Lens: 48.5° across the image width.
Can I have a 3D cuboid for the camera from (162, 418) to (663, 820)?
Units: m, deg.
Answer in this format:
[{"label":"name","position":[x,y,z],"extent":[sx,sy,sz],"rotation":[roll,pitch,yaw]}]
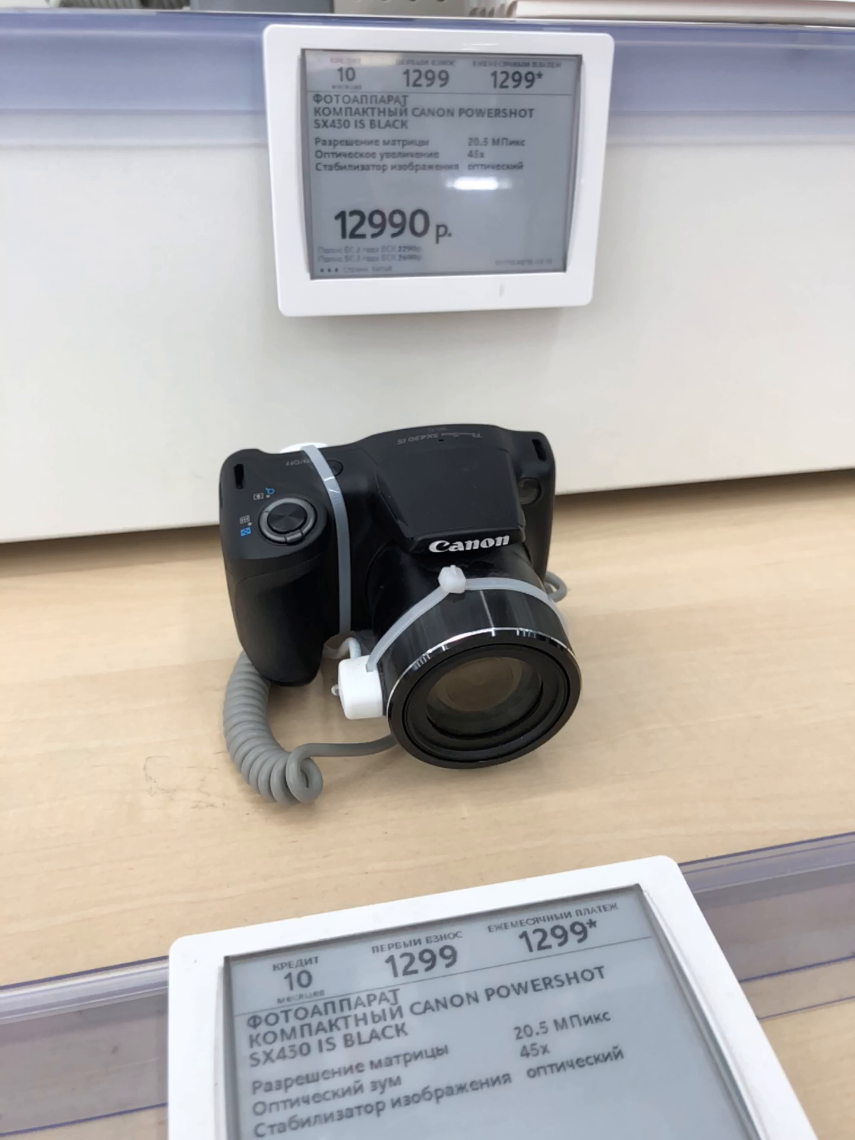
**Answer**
[{"label":"camera","position":[-0.011,0.006,0.275],"extent":[0.116,0.062,0.093],"rotation":[-7,29,-15]}]
